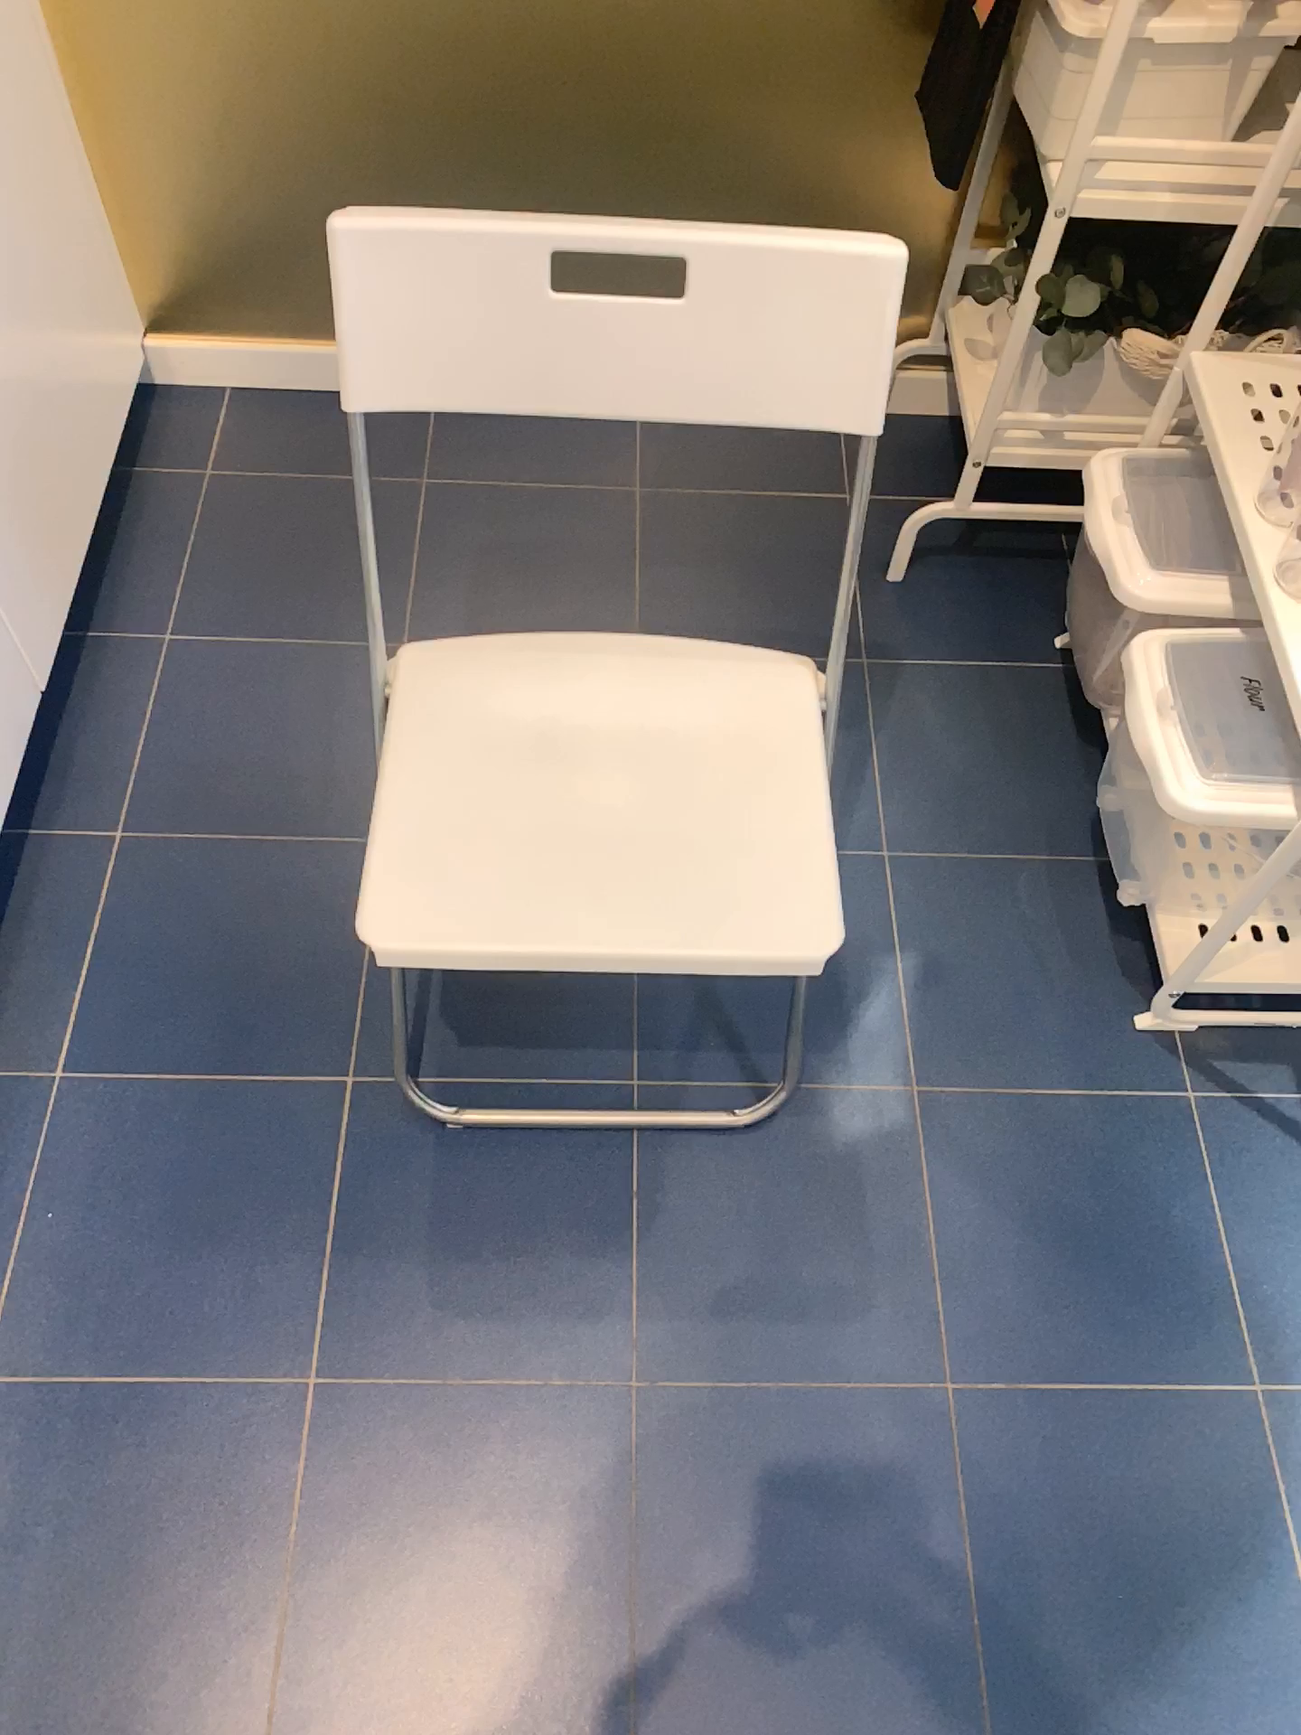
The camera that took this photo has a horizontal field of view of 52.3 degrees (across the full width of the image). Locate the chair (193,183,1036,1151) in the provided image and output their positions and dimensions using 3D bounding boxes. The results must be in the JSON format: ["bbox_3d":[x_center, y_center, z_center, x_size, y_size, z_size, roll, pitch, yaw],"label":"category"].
[{"bbox_3d":[-0.028,-0.105,1.143,0.460,0.708,0.451,3,58,-1],"label":"chair"}]
